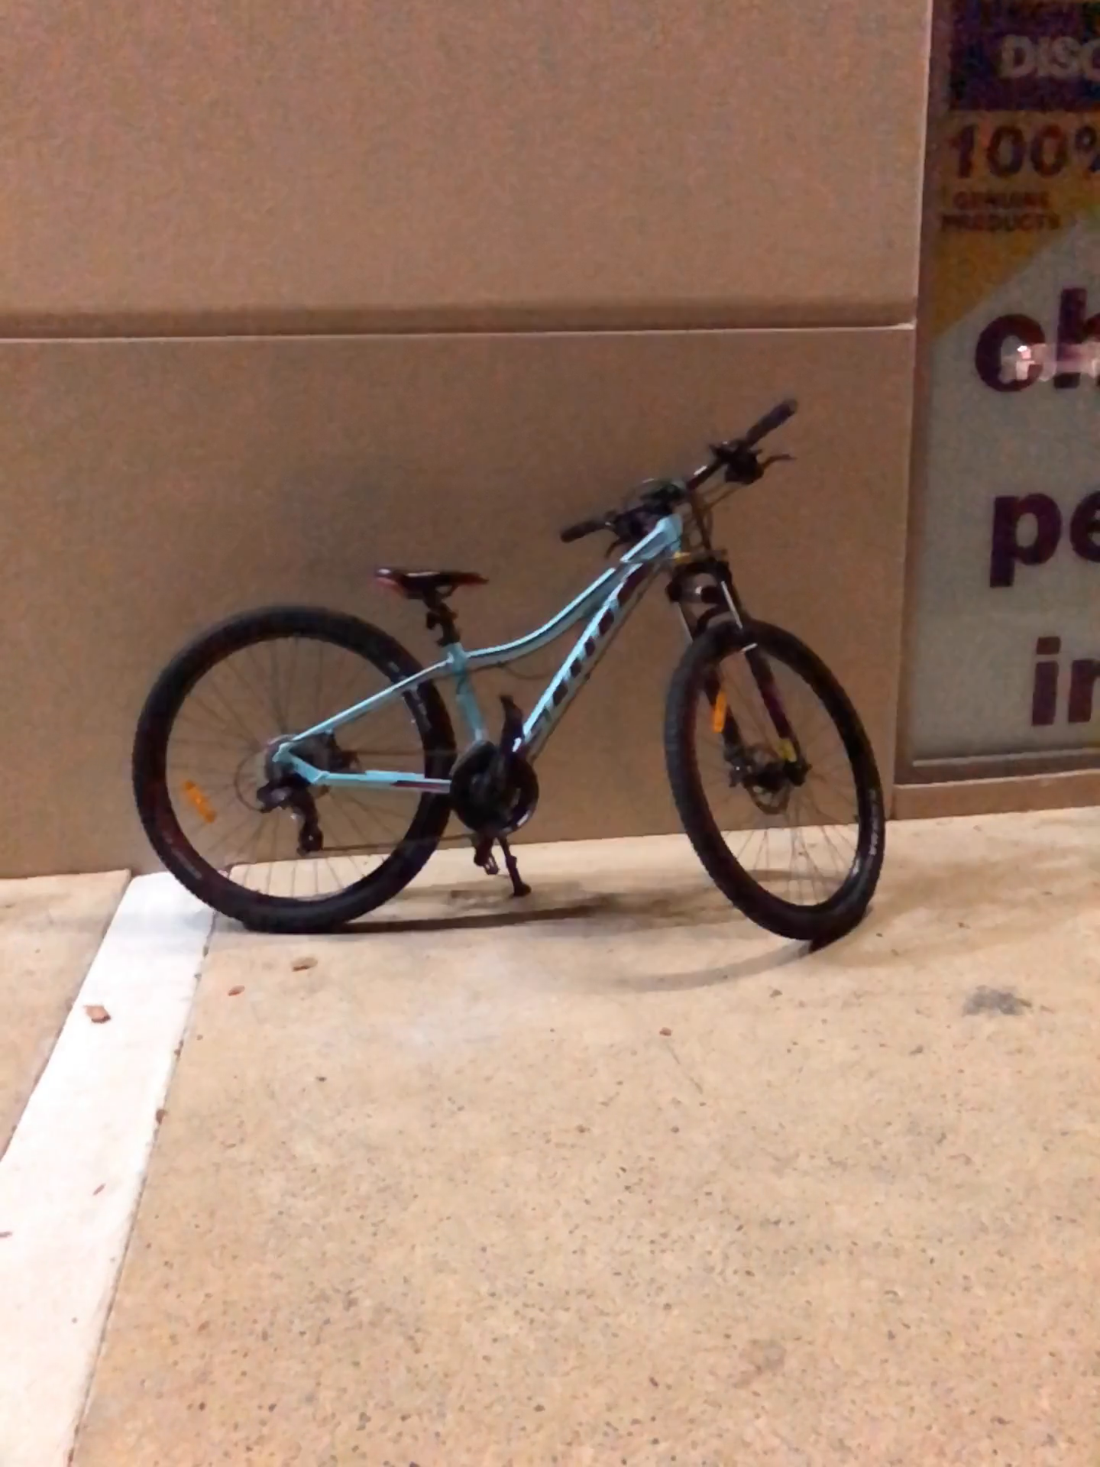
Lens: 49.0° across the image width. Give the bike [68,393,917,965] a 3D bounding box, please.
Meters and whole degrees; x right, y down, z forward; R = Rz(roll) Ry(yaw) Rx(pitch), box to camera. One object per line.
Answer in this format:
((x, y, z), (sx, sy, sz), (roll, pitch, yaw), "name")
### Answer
((-0.063, -0.175, 2.689), (1.603, 1.064, 0.589), (-3, 15, -5), "bike")
